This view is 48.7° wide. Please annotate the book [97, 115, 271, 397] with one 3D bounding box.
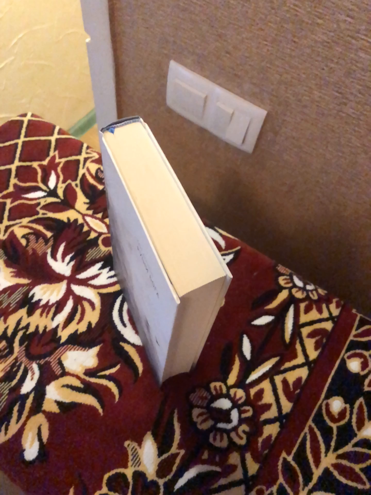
[{"bbox_3d":[-0.015,0.024,0.334,0.048,0.200,0.145,-21,64,-16],"label":"book"}]
